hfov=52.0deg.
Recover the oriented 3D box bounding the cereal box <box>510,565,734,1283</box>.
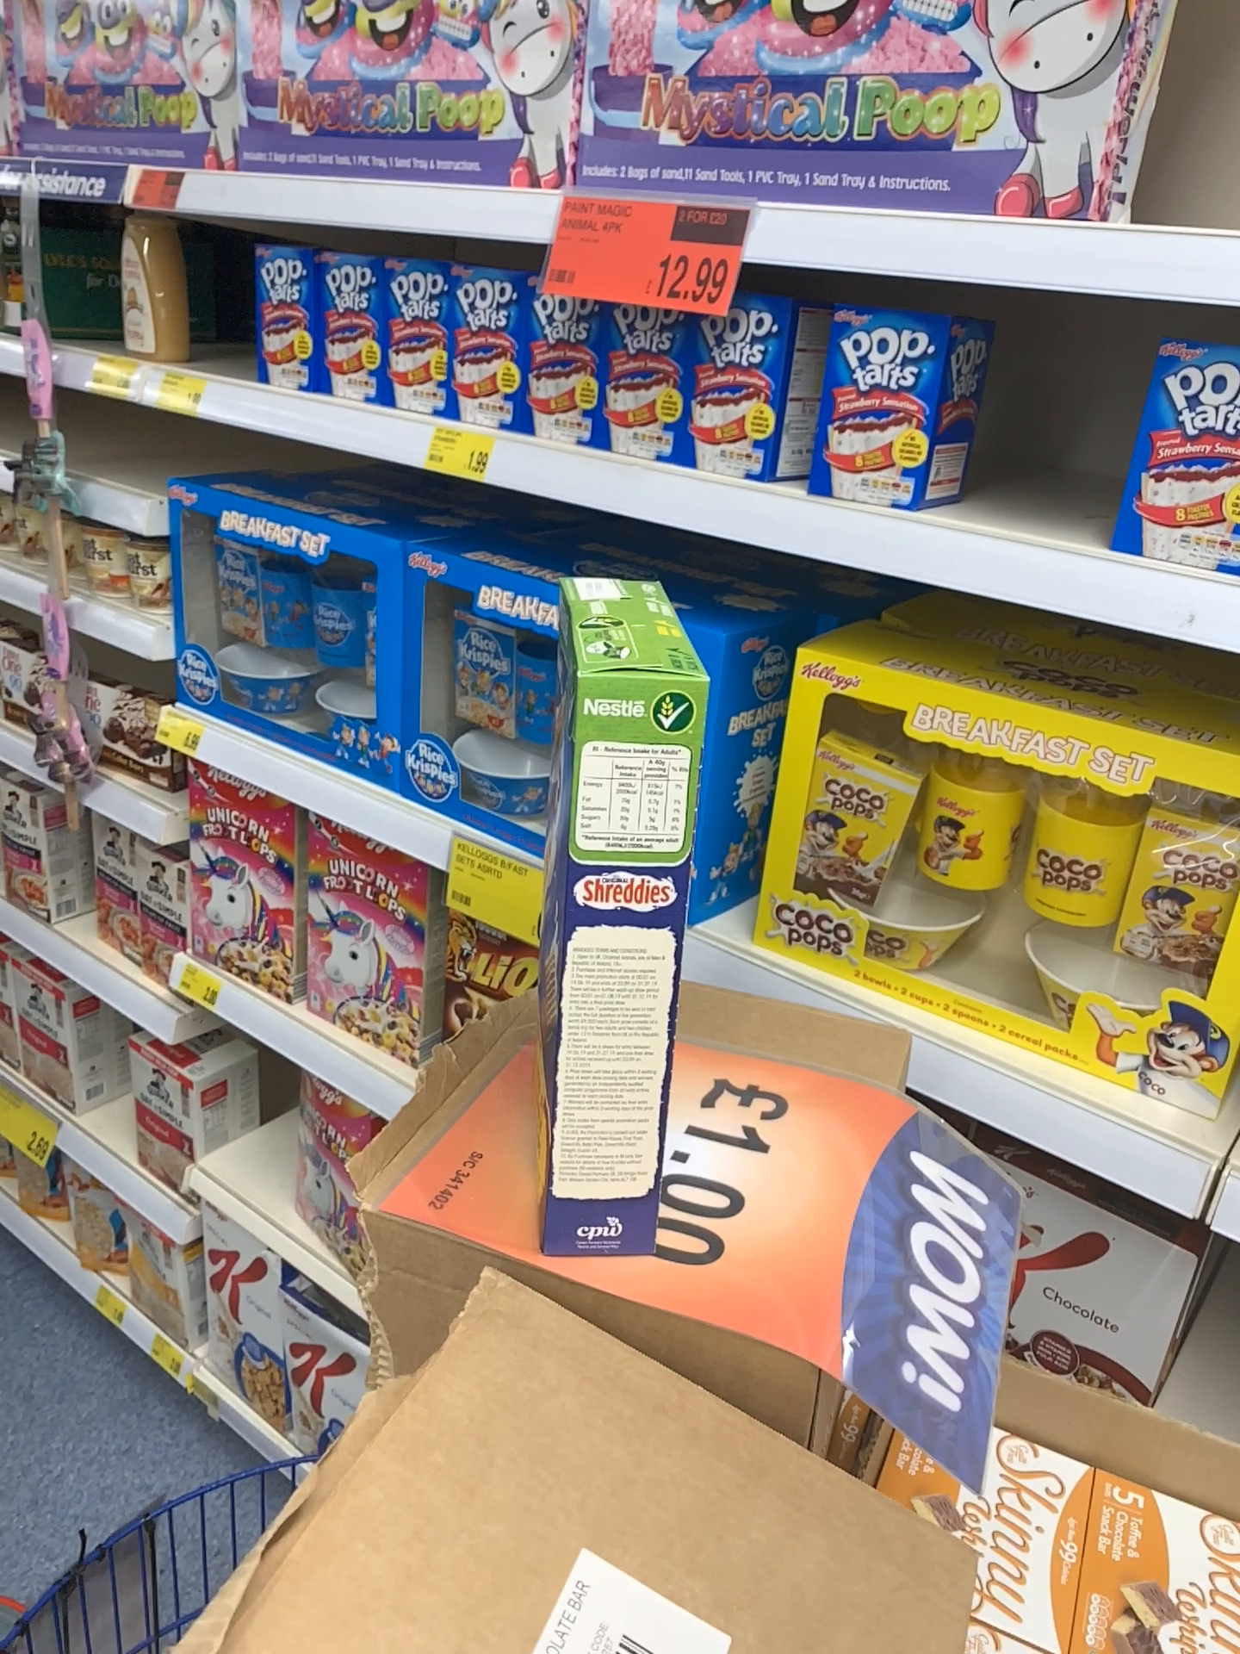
[{"bbox_3d":[-0.006,0.032,0.602,0.070,0.268,0.212,3,21,-3],"label":"cereal box"}]
